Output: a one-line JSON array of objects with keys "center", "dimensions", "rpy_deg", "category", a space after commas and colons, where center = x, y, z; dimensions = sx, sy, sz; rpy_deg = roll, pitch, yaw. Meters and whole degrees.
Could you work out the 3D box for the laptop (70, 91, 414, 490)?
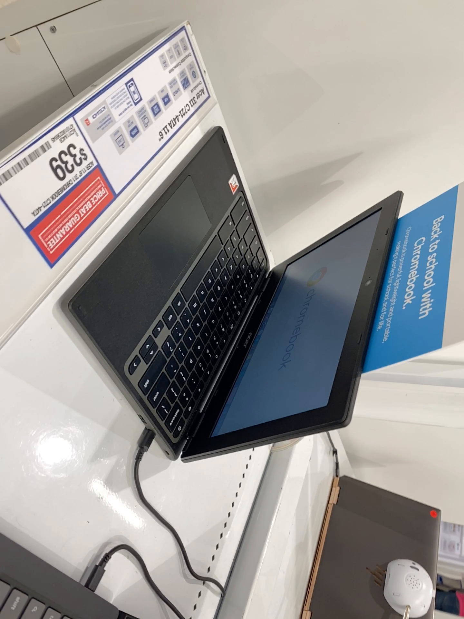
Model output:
[{"center": [0.049, -0.030, 0.449], "dimensions": [0.290, 0.180, 0.201], "rpy_deg": [-63, 141, -40], "category": "laptop"}]
